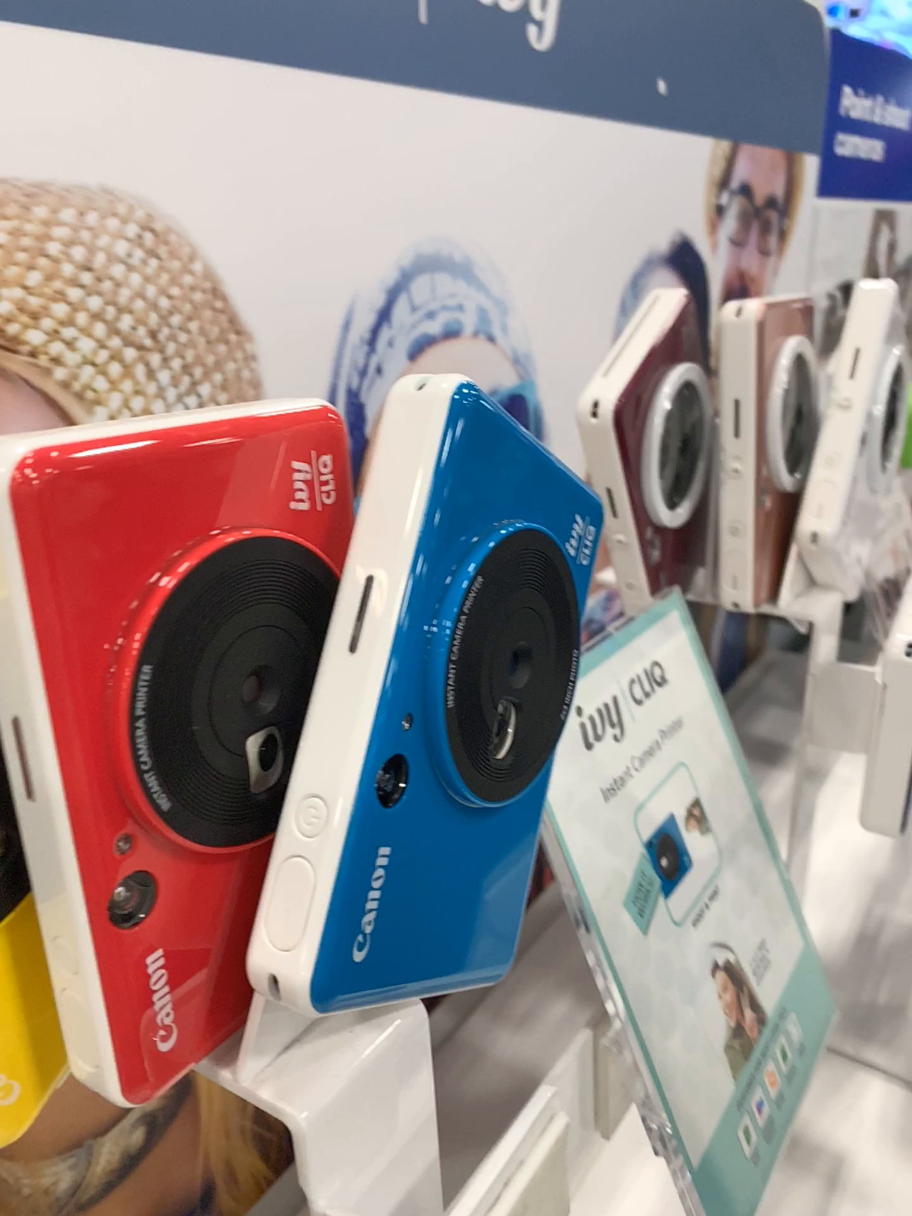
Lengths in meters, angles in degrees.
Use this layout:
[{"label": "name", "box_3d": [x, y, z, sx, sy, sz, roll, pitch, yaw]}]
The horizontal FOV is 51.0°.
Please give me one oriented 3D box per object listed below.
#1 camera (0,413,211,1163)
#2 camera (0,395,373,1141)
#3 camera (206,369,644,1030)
[{"label": "camera", "box_3d": [-0.101, 0.039, 0.169, 0.030, 0.123, 0.068, 19, 54, 32]}, {"label": "camera", "box_3d": [-0.051, 0.025, 0.186, 0.030, 0.123, 0.067, 14, 23, 35]}, {"label": "camera", "box_3d": [0.001, 0.020, 0.201, 0.030, 0.114, 0.077, 9, -10, 31]}]
